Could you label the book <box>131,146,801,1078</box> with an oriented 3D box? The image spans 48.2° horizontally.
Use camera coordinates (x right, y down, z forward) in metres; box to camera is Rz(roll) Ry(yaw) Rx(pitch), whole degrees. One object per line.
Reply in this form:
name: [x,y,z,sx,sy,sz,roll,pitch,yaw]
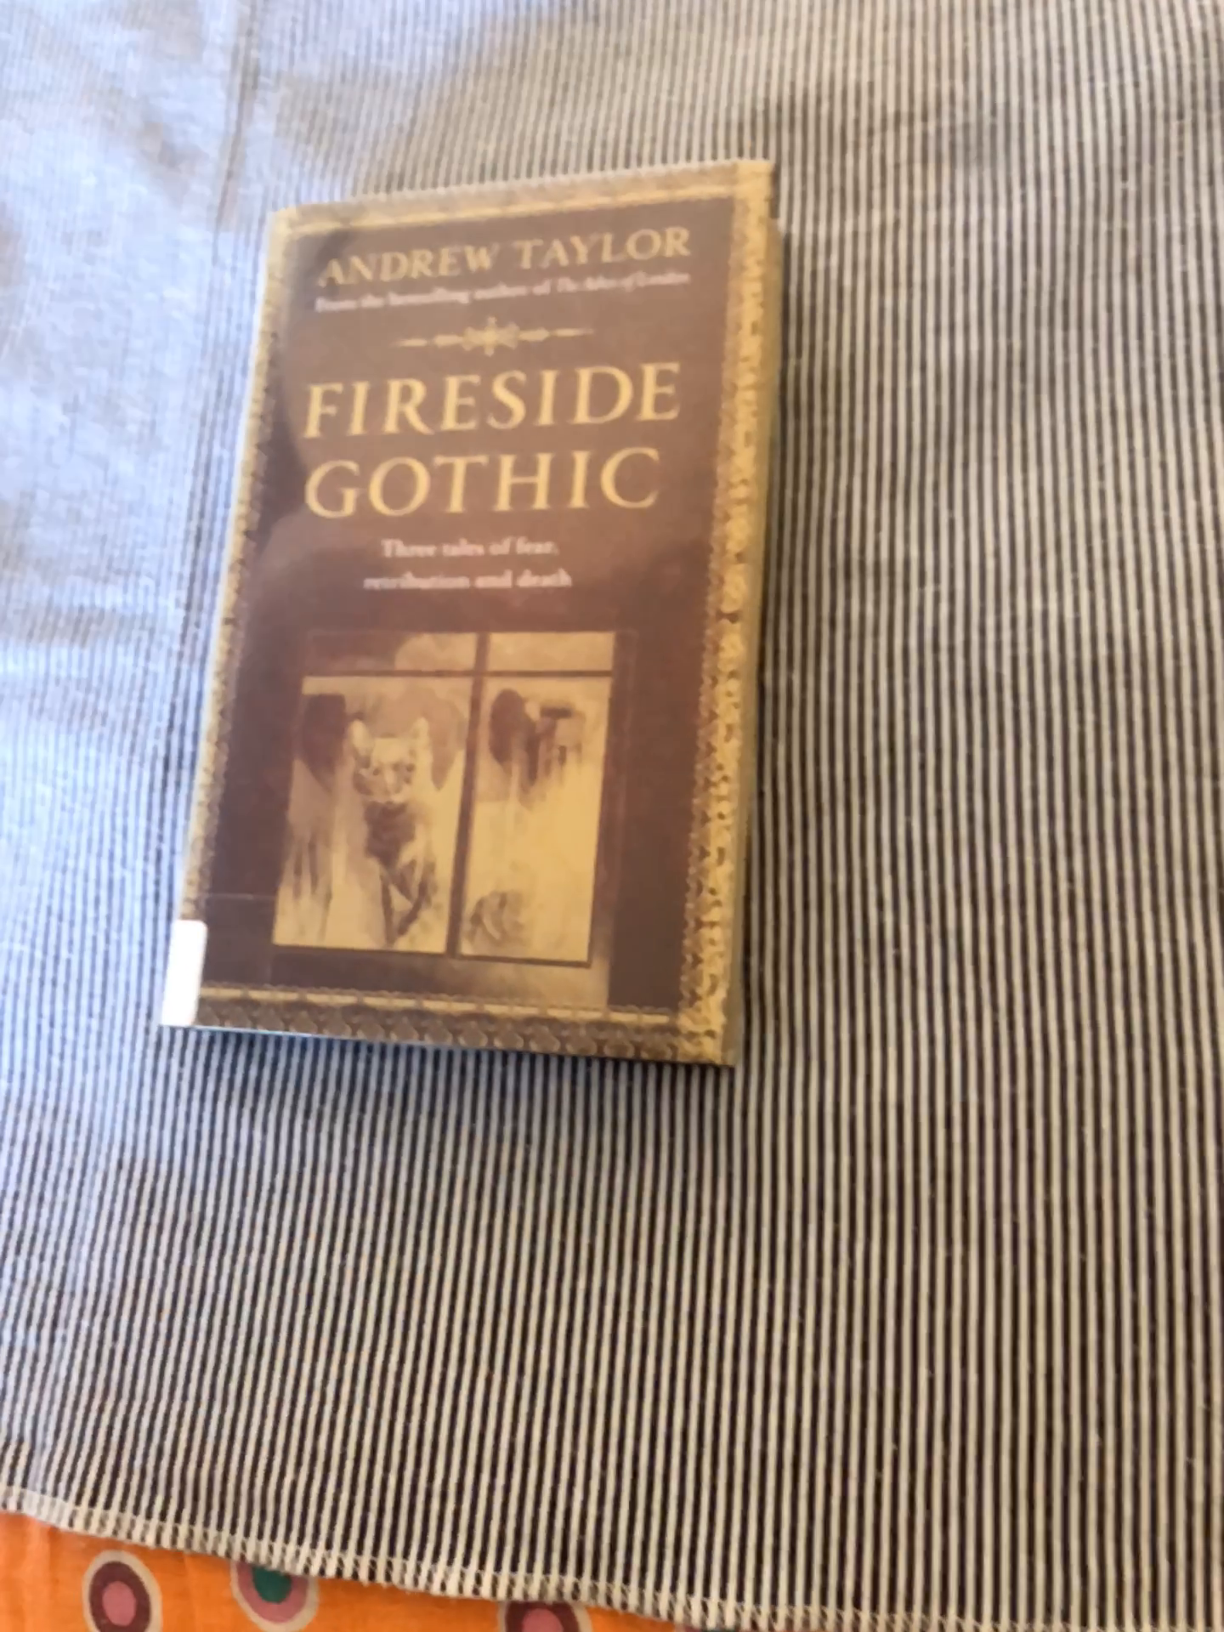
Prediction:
book: [-0.030,-0.052,0.330,0.139,0.027,0.217,1,77,13]
